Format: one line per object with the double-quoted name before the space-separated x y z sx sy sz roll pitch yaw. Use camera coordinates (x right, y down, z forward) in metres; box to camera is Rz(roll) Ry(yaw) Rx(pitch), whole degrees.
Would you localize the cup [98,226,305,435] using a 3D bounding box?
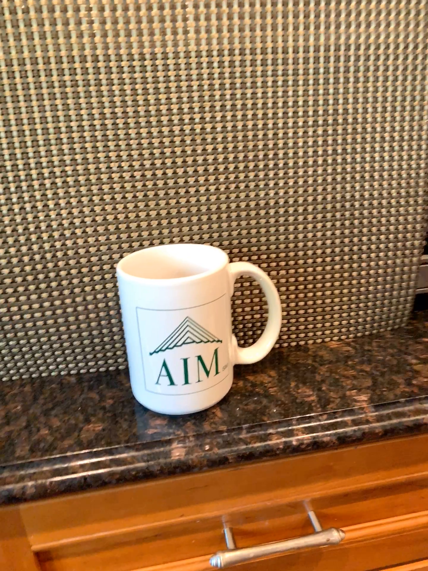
"cup" -0.011 0.026 0.343 0.130 0.109 0.090 -10 23 -17
